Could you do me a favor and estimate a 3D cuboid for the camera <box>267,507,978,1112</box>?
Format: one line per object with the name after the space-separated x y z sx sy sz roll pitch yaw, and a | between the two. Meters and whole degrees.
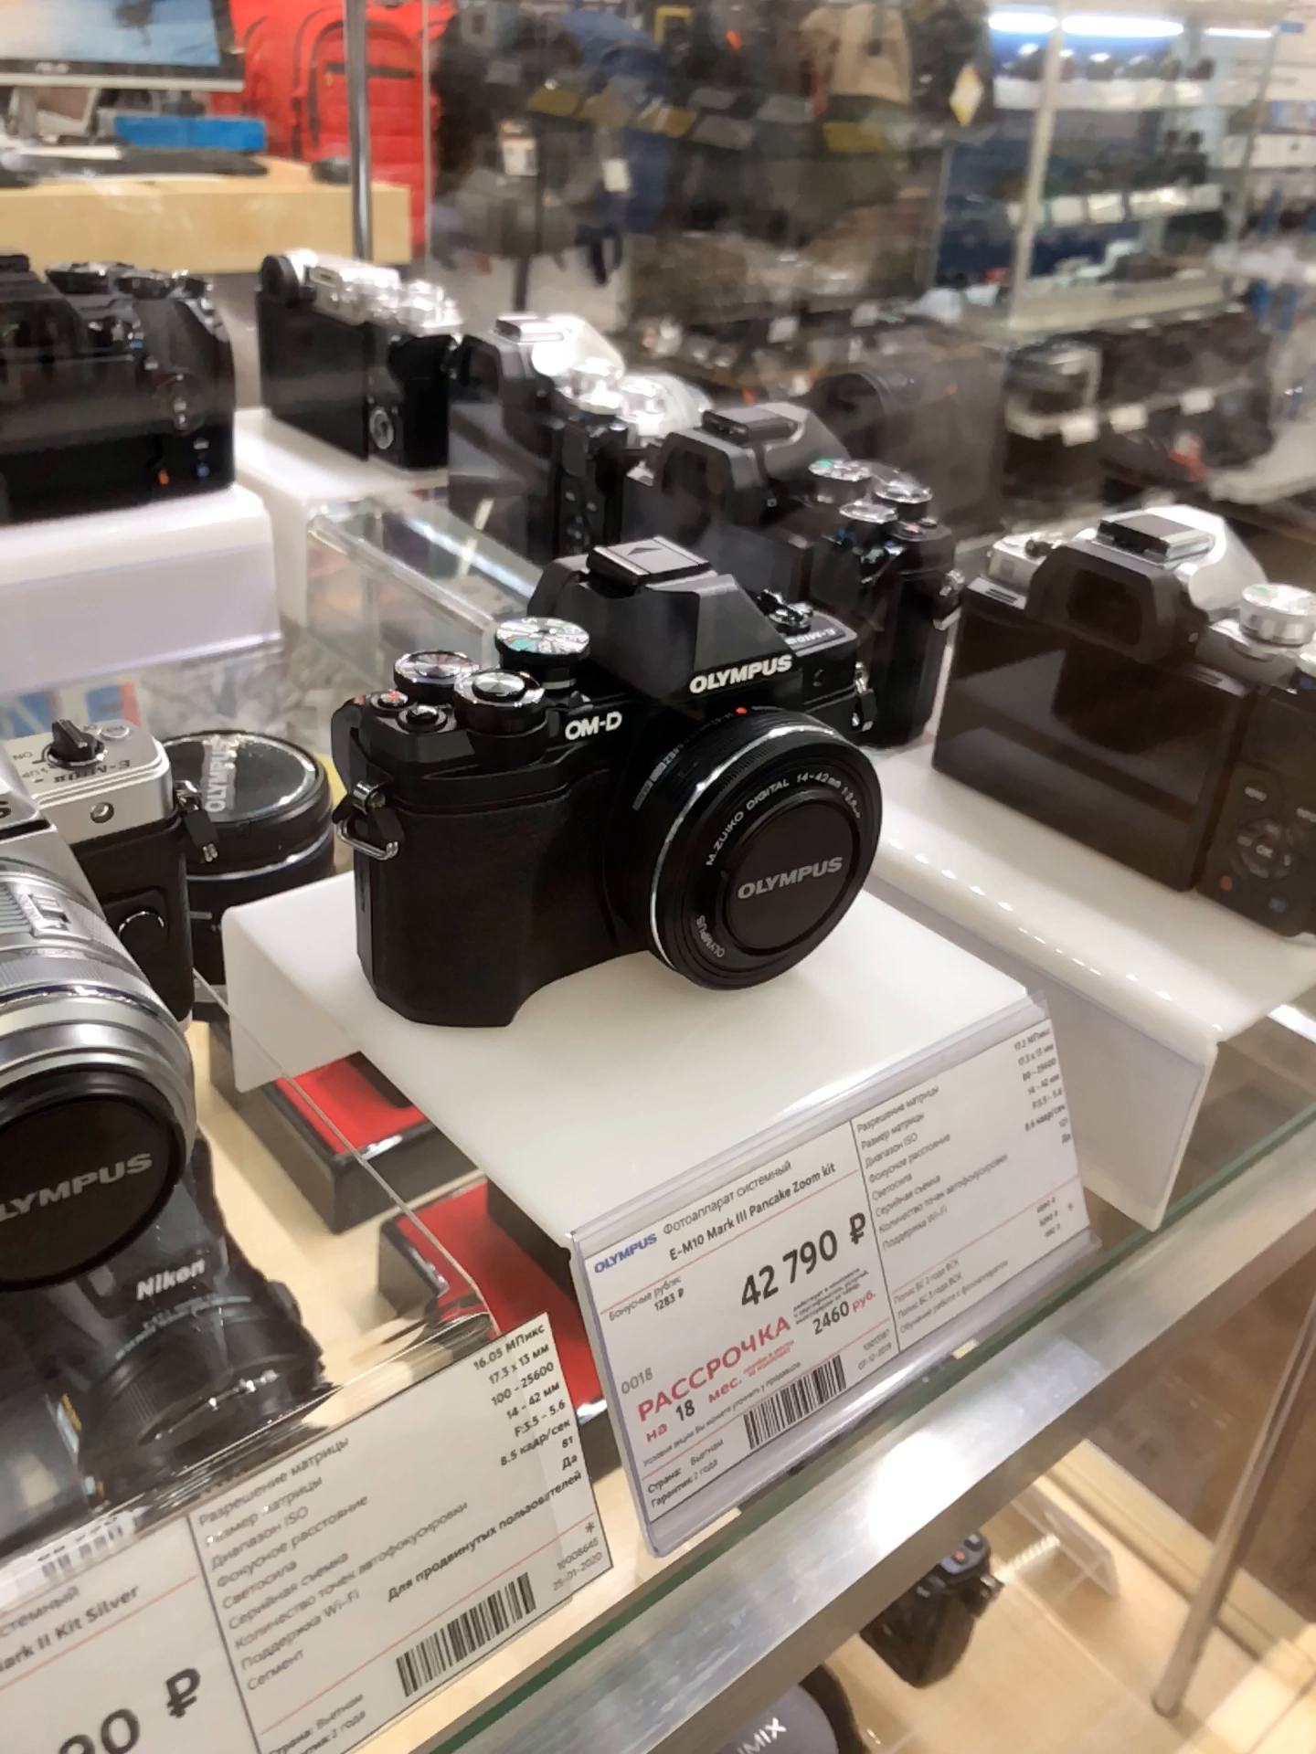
-0.006 -0.022 0.313 0.129 0.082 0.064 -18 37 -33 | camera

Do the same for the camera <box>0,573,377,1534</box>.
-0.118 0.014 0.229 0.112 0.080 0.094 -18 37 -32 | camera

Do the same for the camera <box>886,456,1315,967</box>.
0.142 -0.052 0.381 0.094 0.074 0.124 -21 39 -36 | camera
